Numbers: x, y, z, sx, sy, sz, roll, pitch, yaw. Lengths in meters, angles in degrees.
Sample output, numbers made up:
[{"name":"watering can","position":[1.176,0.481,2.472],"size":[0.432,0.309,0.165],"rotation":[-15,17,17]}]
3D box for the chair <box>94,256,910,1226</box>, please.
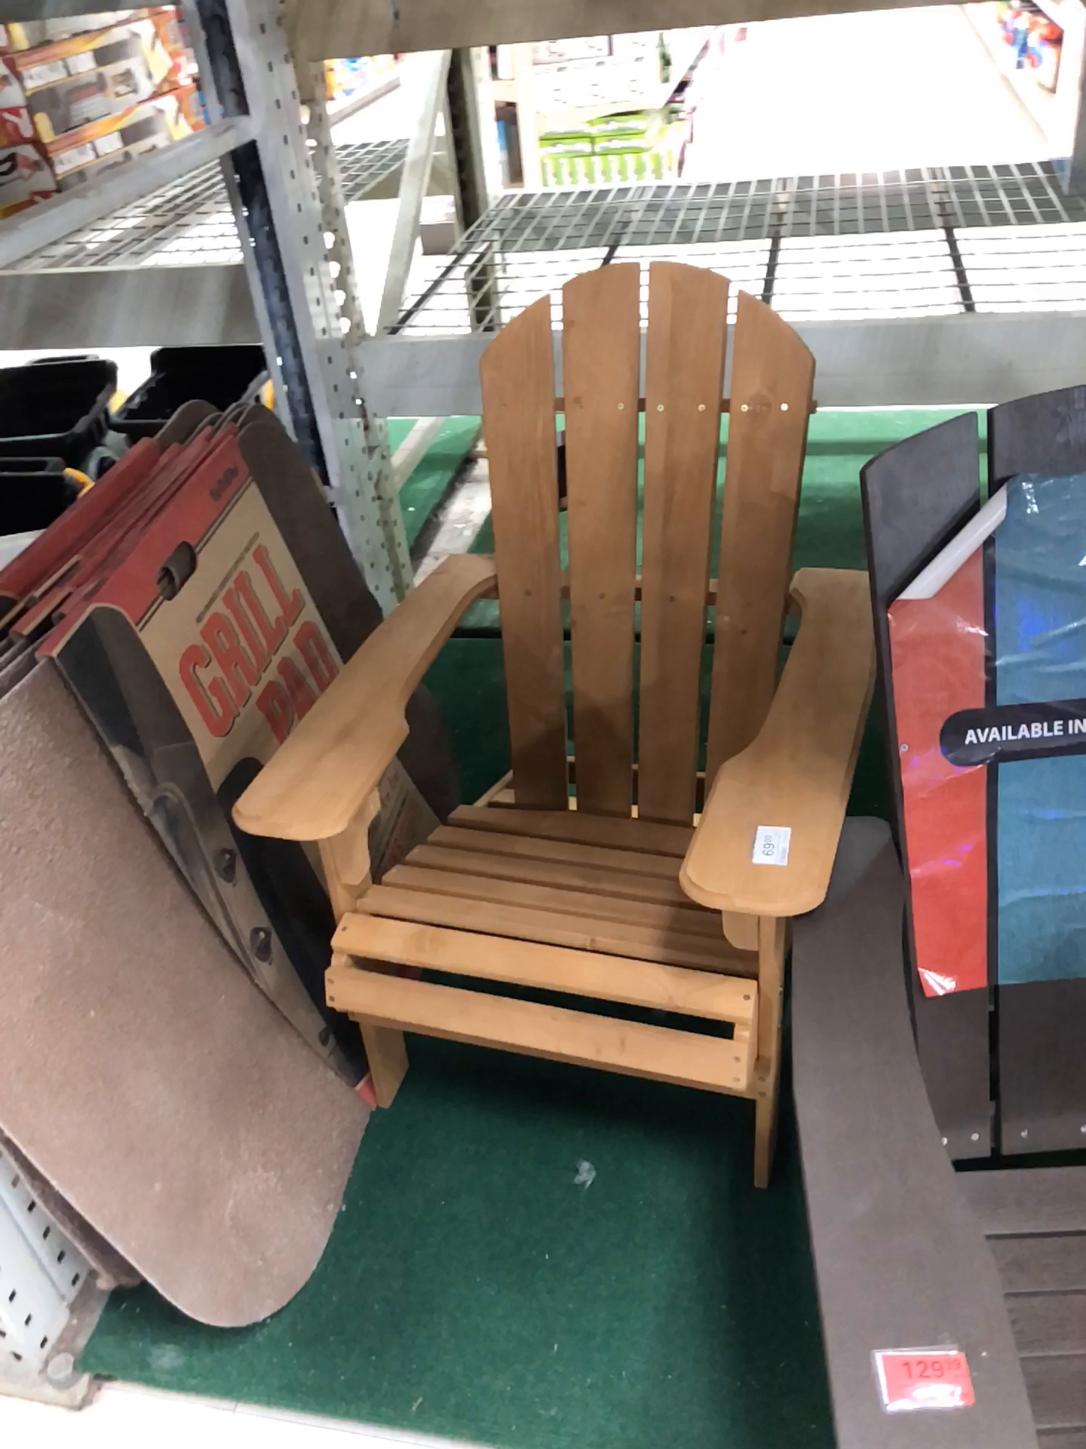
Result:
[{"name":"chair","position":[0.056,-0.018,1.470],"size":[0.642,0.885,0.690],"rotation":[7,38,18]}]
